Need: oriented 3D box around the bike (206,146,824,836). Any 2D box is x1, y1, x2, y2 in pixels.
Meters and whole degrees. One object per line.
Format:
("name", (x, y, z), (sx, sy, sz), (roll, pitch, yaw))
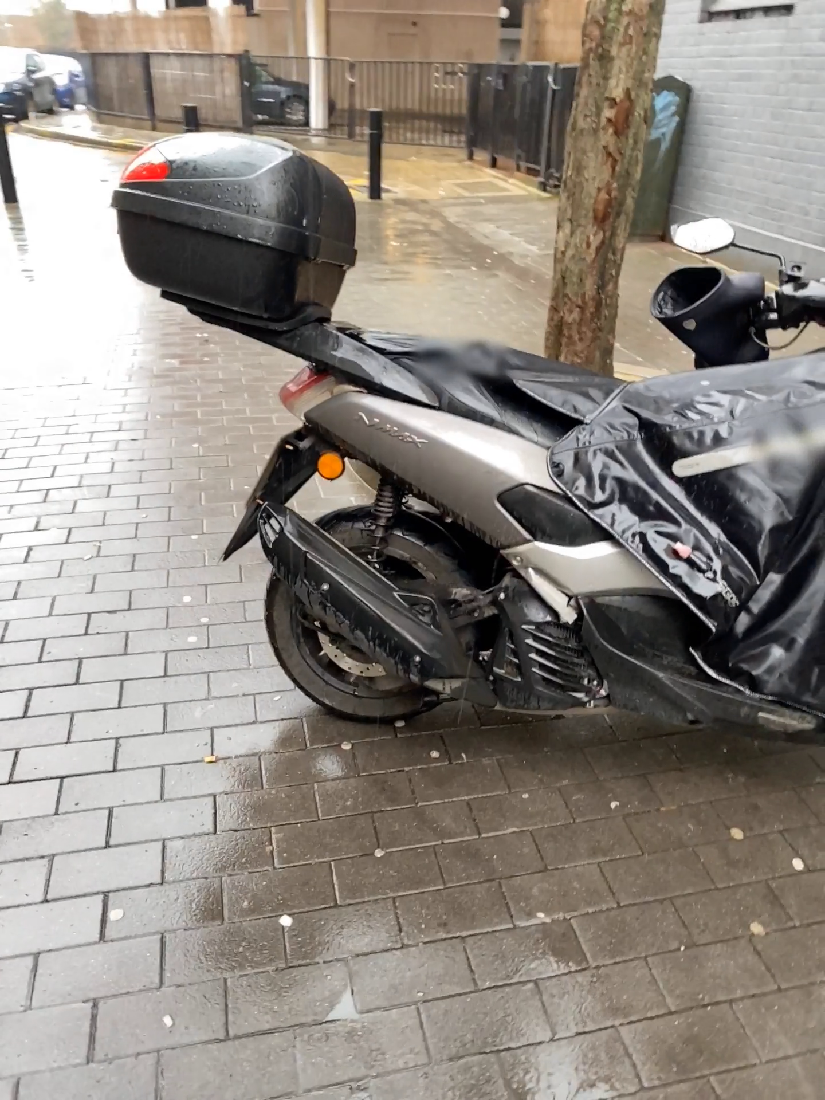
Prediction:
("bike", (0.591, -0.150, 1.771), (1.731, 1.121, 0.763), (3, 29, 1))
